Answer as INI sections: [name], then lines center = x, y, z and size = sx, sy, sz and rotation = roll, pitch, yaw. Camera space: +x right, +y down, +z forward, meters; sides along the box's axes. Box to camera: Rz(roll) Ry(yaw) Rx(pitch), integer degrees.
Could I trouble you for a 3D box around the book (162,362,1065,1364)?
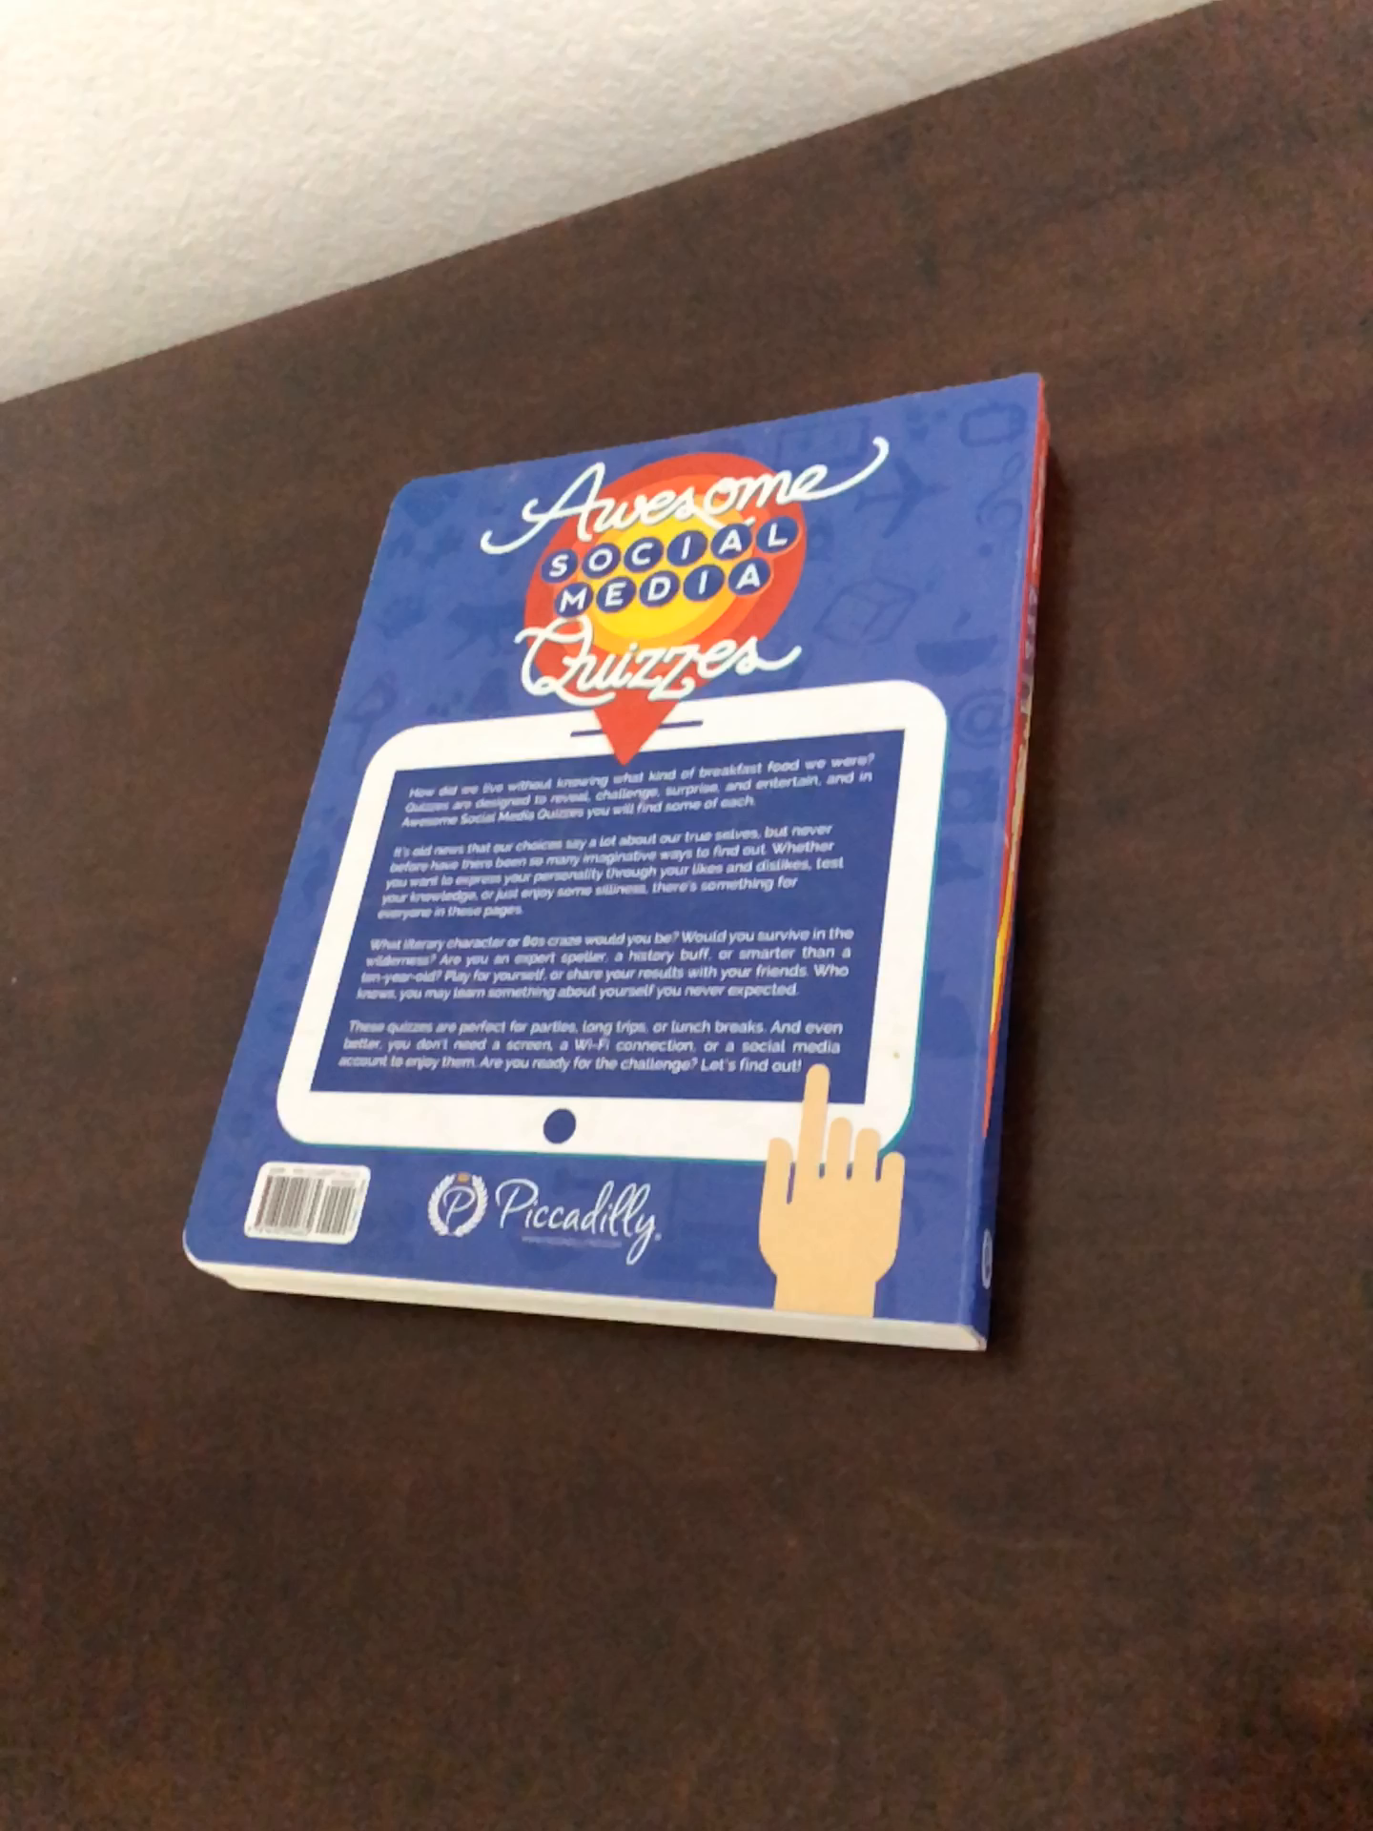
[book]
center = -0.010, -0.017, 0.328
size = 0.166, 0.030, 0.201
rotation = -1, 65, 24
